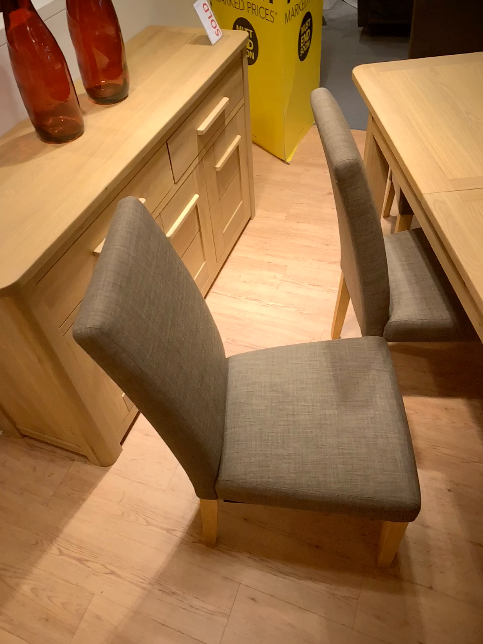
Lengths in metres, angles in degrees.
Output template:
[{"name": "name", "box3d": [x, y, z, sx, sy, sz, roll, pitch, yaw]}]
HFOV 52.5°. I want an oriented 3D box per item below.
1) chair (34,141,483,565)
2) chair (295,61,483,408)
[{"name": "chair", "box3d": [0.065, 0.142, 1.125, 0.603, 0.884, 0.511, -1, 48, 5]}, {"name": "chair", "box3d": [0.432, -0.202, 1.362, 0.503, 0.765, 0.501, -4, 47, 1]}]
